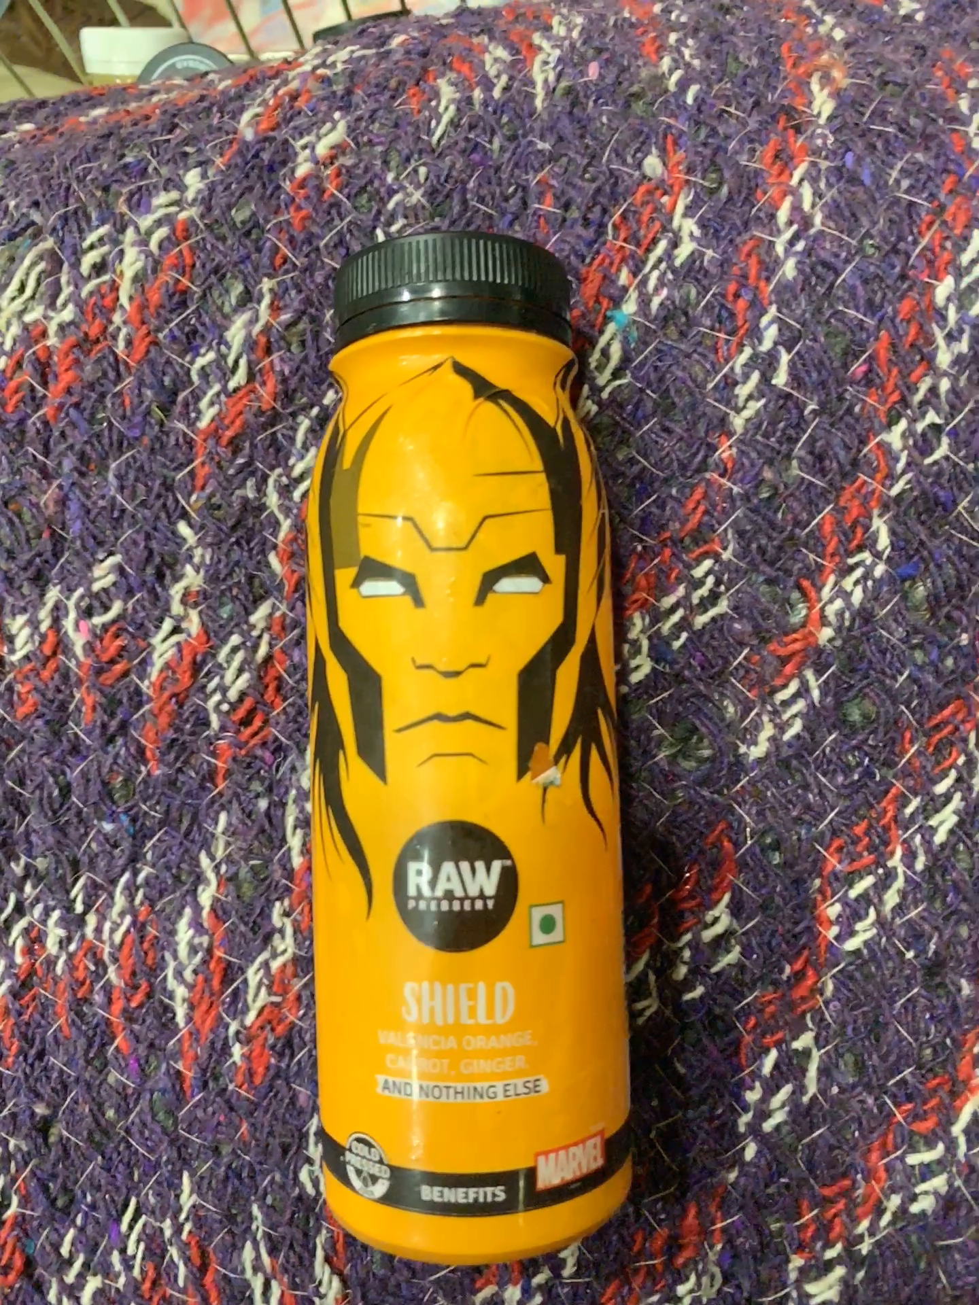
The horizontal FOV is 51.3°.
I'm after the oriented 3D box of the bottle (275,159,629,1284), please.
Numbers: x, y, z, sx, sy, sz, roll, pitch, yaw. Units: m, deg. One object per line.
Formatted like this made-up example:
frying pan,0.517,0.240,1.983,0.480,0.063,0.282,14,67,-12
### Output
bottle,-0.004,0.009,0.174,0.050,0.050,0.160,-1,87,9
